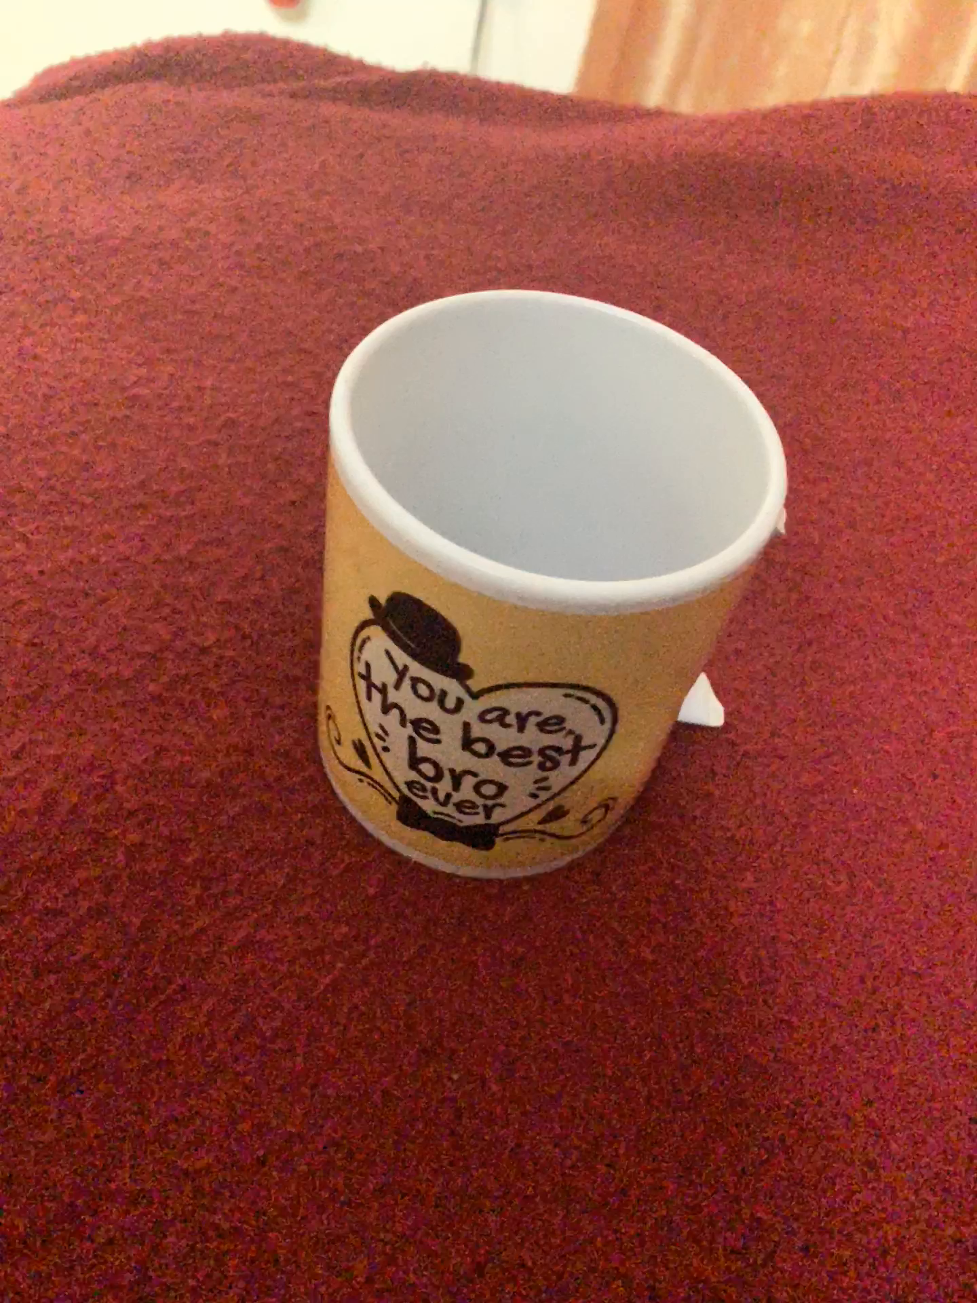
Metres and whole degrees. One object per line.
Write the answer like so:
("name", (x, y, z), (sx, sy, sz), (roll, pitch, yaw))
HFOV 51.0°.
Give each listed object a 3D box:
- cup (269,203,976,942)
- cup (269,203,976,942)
("cup", (0.020, -0.013, 0.216), (0.110, 0.109, 0.081), (12, 46, 0))
("cup", (0.020, -0.013, 0.216), (0.110, 0.109, 0.081), (12, 46, 0))
